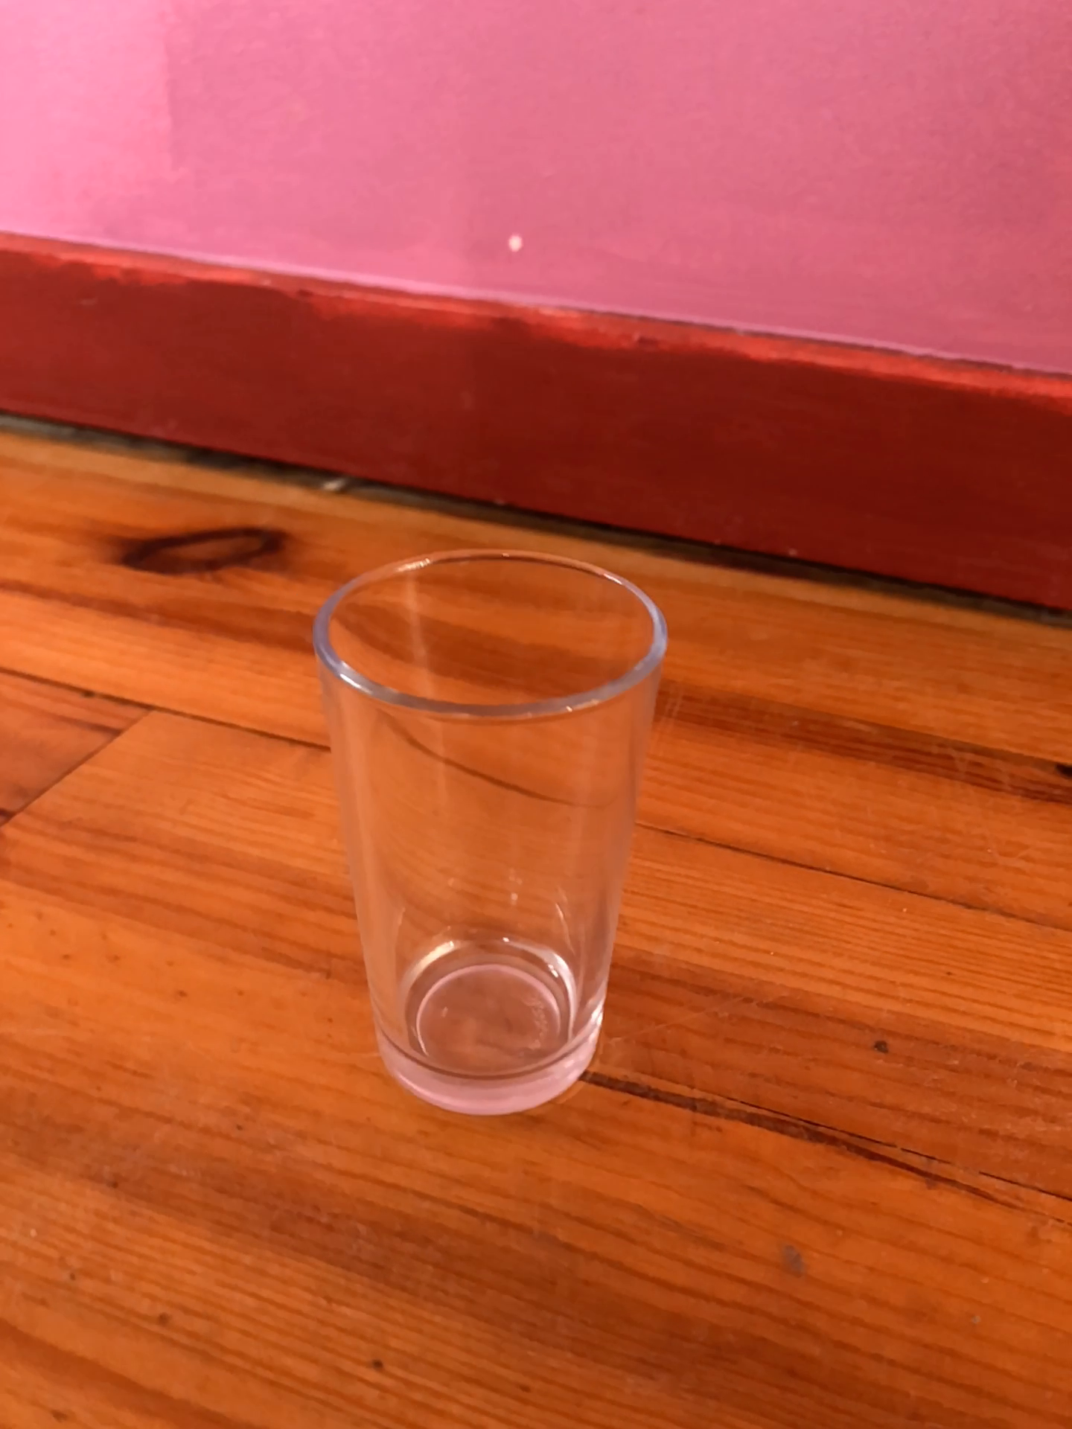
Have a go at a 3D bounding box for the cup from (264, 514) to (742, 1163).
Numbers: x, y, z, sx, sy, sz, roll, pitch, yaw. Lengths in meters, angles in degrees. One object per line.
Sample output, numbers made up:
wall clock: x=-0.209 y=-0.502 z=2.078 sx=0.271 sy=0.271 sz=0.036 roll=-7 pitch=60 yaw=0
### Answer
cup: x=-0.008 y=0.017 z=0.192 sx=0.055 sy=0.079 sz=0.051 roll=2 pitch=30 yaw=-1
